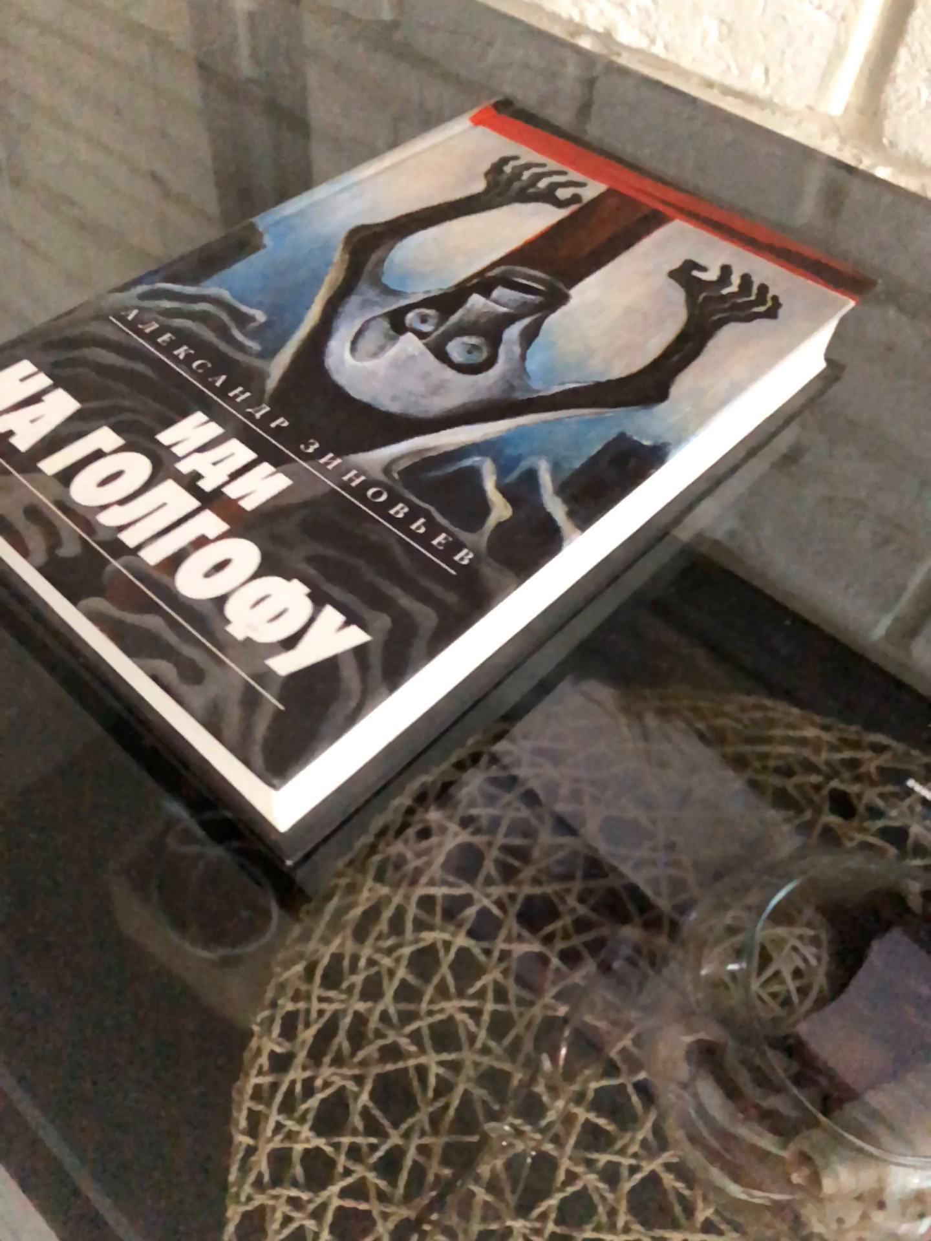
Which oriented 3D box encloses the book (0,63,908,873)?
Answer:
[{"bbox_3d":[-0.014,-0.061,0.239,0.140,0.030,0.201,38,58,23],"label":"book"}]
